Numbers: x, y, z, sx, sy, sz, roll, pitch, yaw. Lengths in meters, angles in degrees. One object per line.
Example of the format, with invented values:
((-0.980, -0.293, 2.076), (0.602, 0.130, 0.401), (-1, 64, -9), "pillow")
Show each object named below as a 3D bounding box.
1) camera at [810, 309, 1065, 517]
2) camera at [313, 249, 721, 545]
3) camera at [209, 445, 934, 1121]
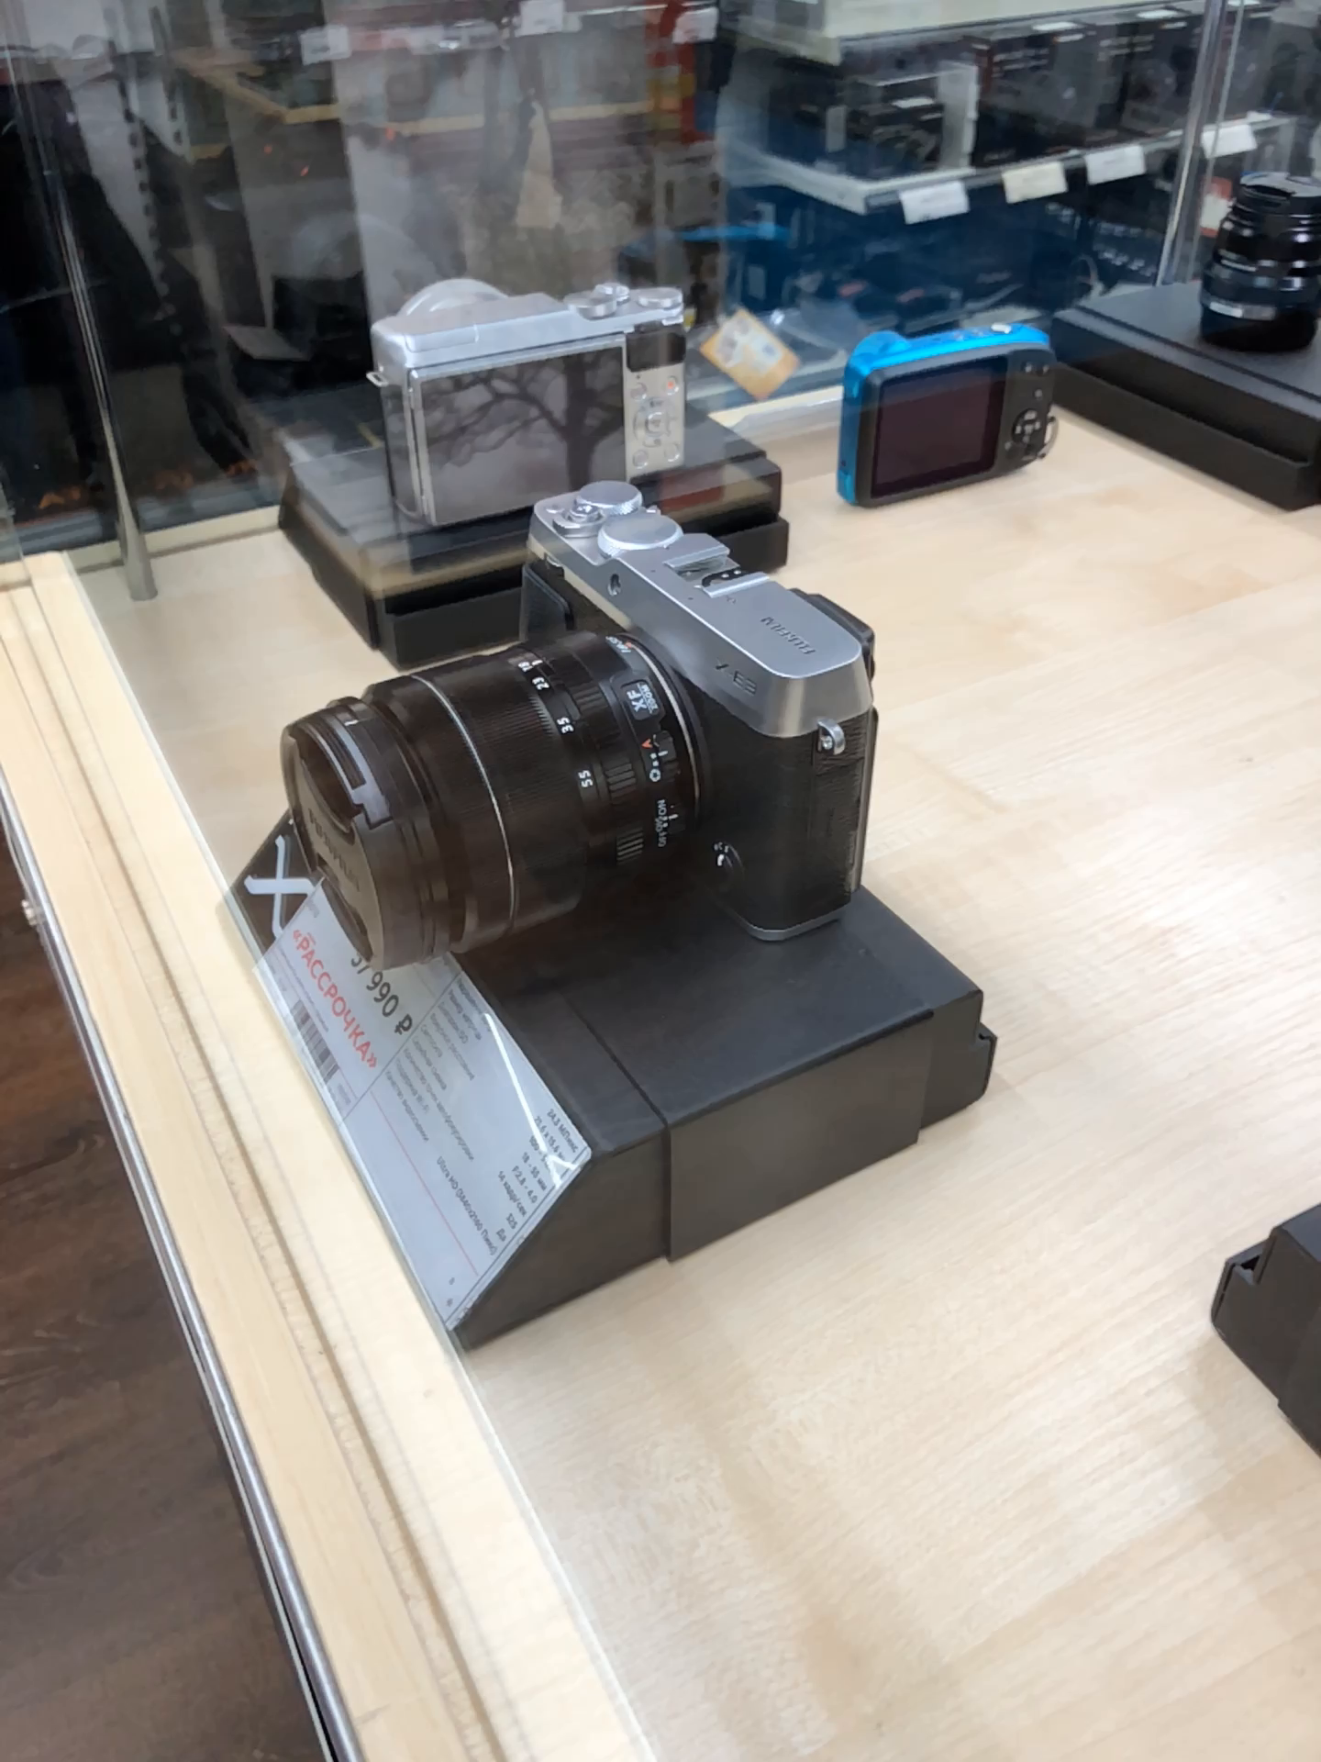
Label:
((0.122, -0.208, 0.648), (0.101, 0.064, 0.036), (-17, 43, -20), "camera")
((-0.053, -0.190, 0.564), (0.132, 0.068, 0.077), (-19, 41, -23), "camera")
((-0.025, -0.034, 0.351), (0.116, 0.080, 0.132), (-19, 41, -23), "camera")
